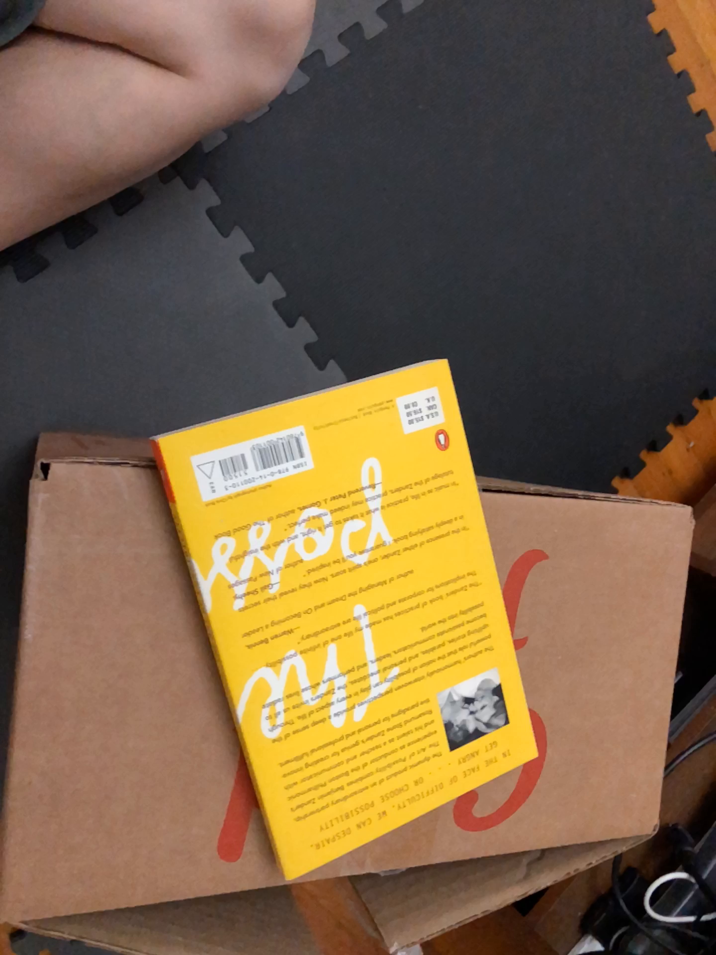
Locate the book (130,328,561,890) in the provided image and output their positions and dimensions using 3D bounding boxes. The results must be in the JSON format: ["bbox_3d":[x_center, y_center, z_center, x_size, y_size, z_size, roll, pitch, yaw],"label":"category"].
[{"bbox_3d":[0.004,0.054,0.357,0.150,0.020,0.210,-18,100,-20],"label":"book"}]
